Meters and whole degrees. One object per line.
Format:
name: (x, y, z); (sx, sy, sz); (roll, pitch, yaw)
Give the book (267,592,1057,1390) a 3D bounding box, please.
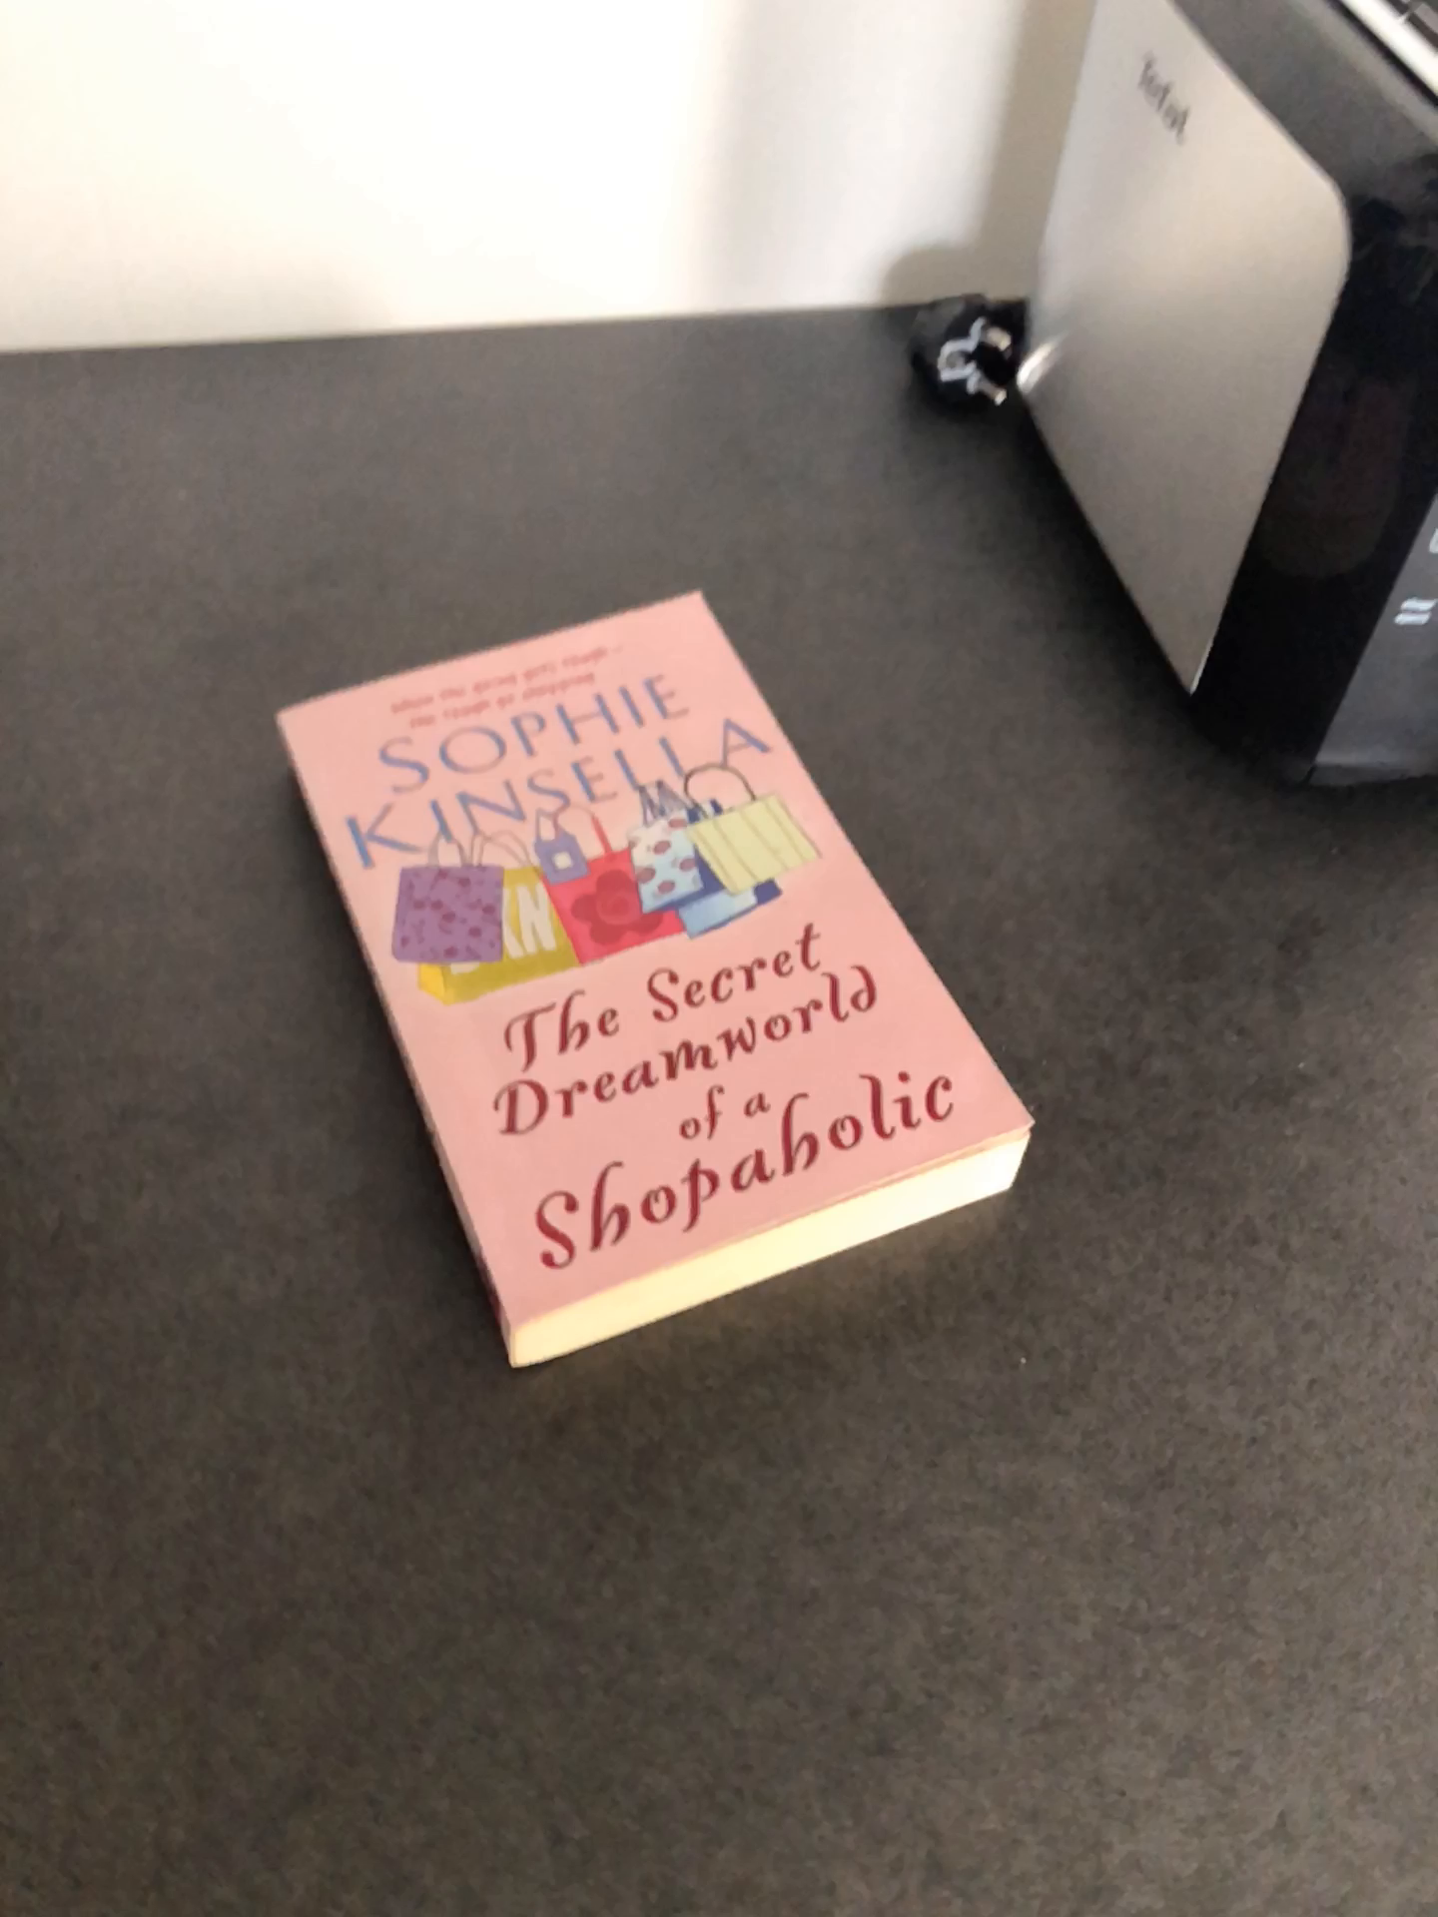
book: (-0.024, -0.007, 0.411); (0.130, 0.030, 0.200); (-17, 55, -18)
